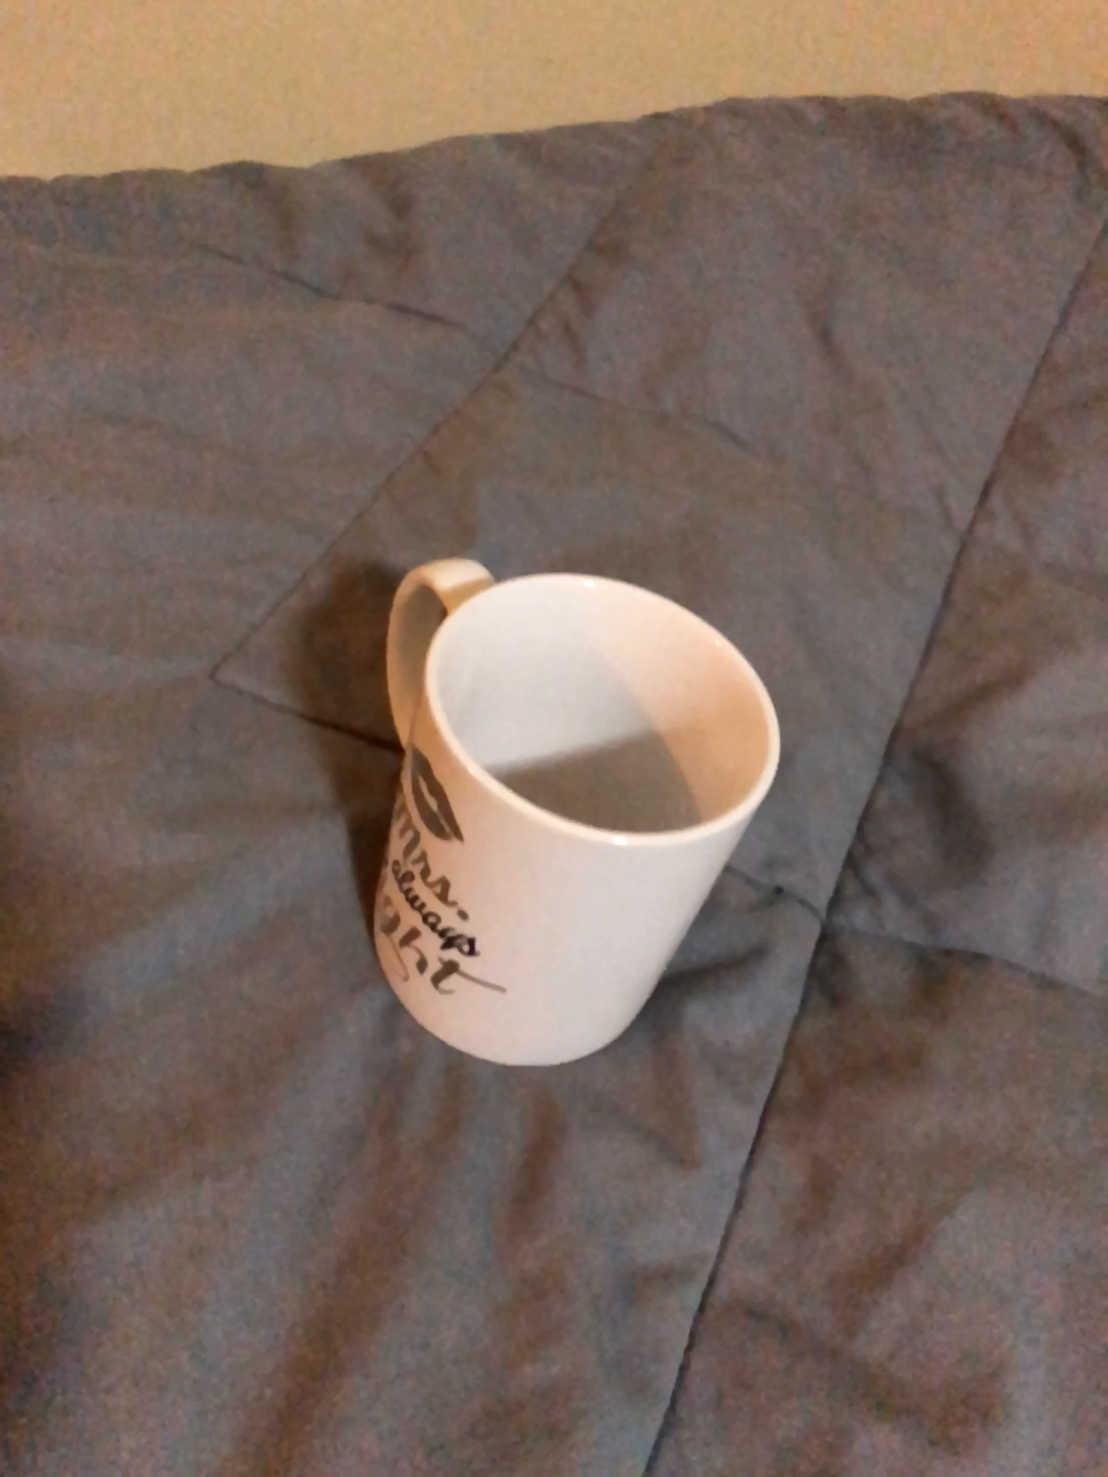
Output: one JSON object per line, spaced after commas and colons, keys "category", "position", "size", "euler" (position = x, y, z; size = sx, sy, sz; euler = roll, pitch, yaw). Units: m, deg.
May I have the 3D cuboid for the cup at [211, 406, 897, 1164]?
{"category": "cup", "position": [-0.014, 0.006, 0.340], "size": [0.110, 0.110, 0.150], "euler": [-17, 55, -28]}
